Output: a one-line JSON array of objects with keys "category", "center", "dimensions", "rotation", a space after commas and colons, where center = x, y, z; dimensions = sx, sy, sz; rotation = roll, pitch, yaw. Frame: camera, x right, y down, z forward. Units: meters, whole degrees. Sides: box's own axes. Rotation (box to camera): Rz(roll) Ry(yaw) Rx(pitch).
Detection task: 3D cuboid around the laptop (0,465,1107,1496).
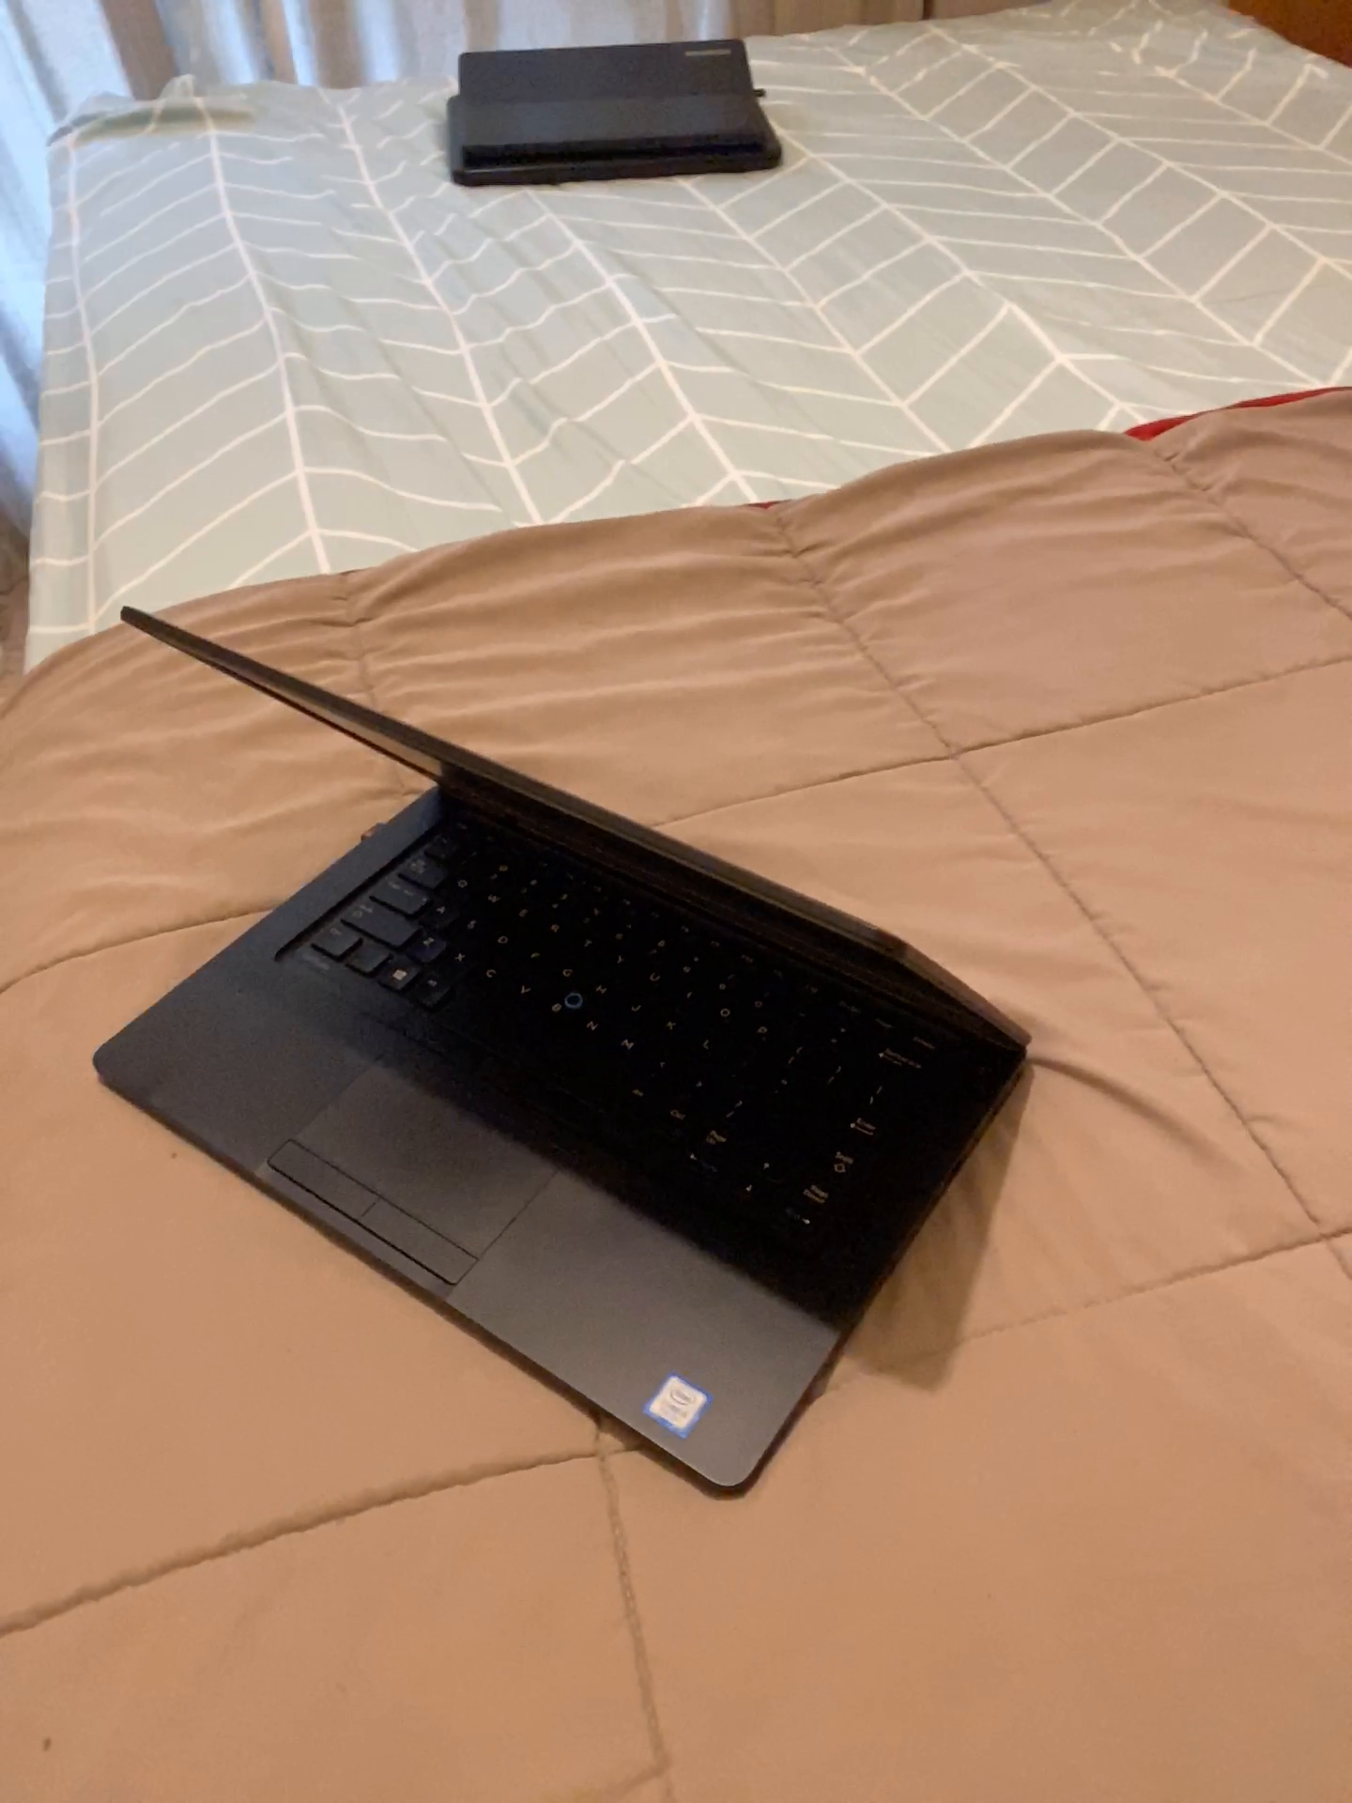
[{"category": "laptop", "center": [-0.056, 0.001, 0.526], "dimensions": [0.334, 0.183, 0.227], "rotation": [24, 50, 26]}]
